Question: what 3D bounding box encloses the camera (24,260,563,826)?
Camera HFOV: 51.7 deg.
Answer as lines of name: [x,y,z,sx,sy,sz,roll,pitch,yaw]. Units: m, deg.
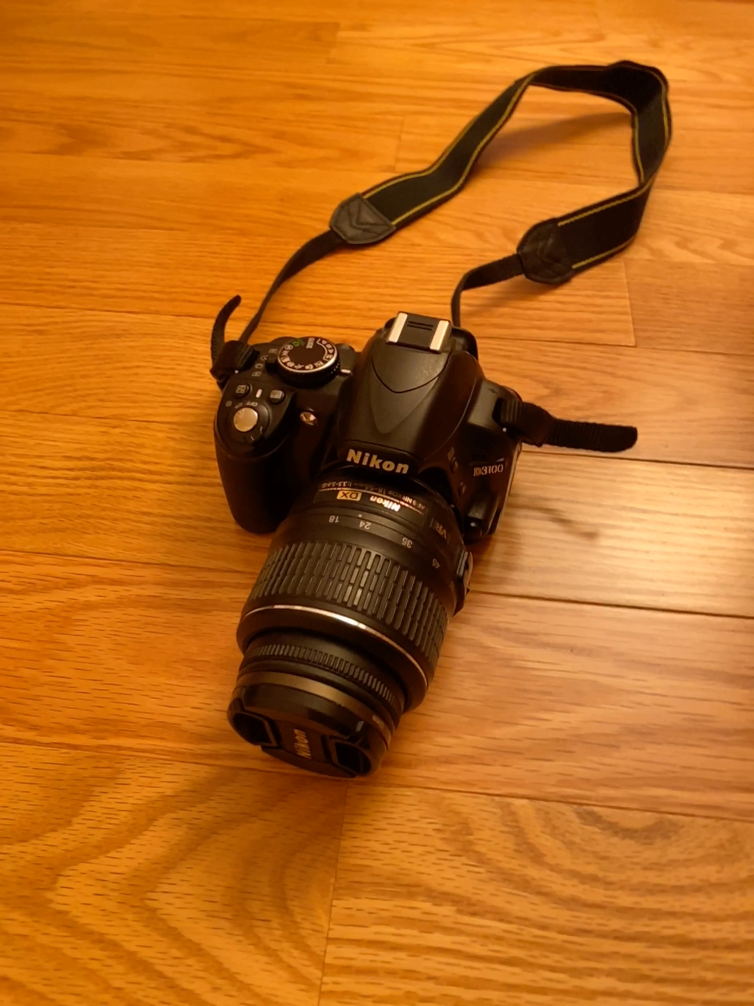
camera: [-0.013,0.008,0.289,0.130,0.099,0.161,11,52,9]
